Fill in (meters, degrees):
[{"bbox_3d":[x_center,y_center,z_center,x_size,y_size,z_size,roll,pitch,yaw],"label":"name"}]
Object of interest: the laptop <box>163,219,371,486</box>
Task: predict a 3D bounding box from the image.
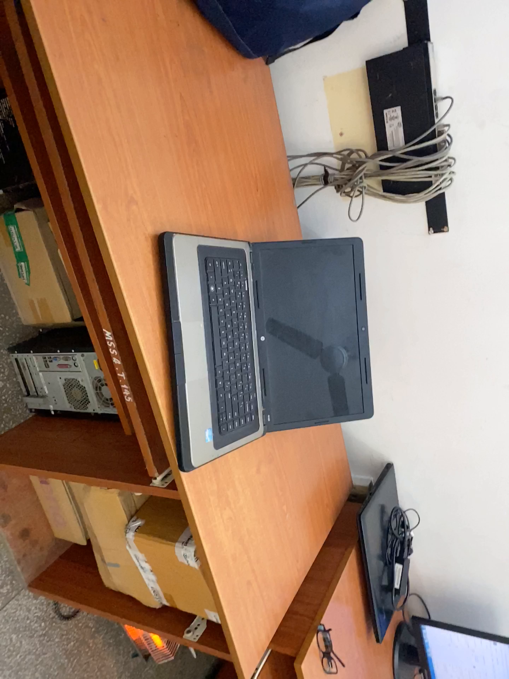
[{"bbox_3d":[0.053,0.003,0.956,0.428,0.158,0.383,-10,97,-57],"label":"laptop"}]
